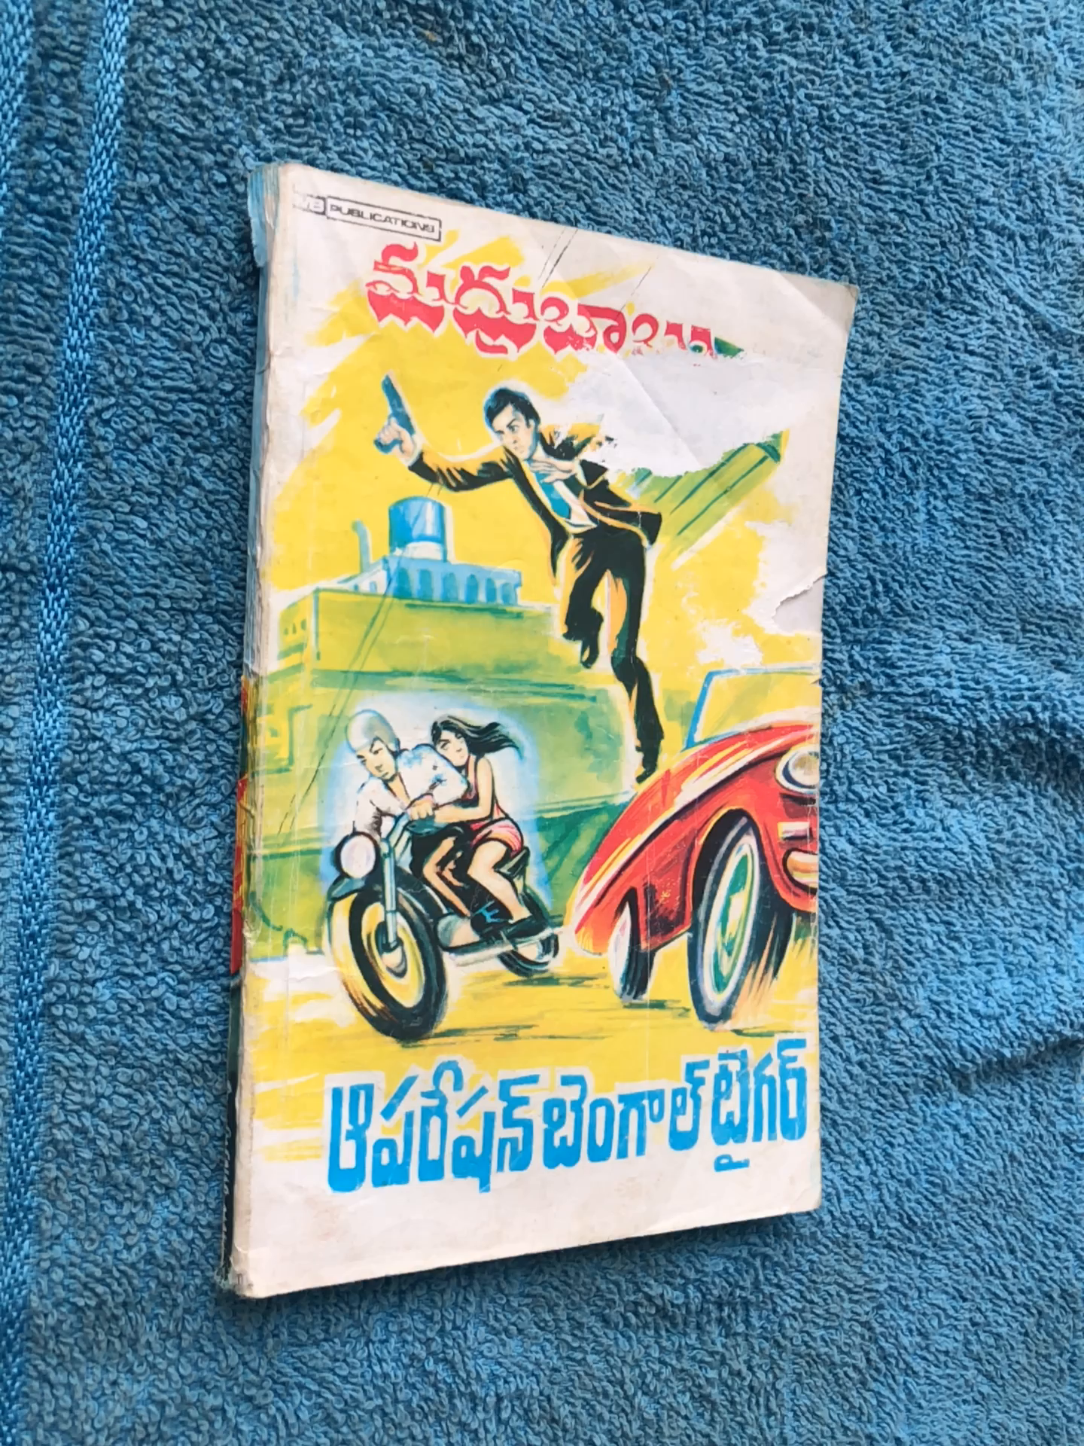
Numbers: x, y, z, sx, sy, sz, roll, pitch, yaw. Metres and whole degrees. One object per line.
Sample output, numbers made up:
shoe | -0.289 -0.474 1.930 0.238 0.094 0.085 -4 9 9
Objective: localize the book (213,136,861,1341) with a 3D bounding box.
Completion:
book | 0.004 0.002 0.192 0.100 0.020 0.160 3 86 -26
